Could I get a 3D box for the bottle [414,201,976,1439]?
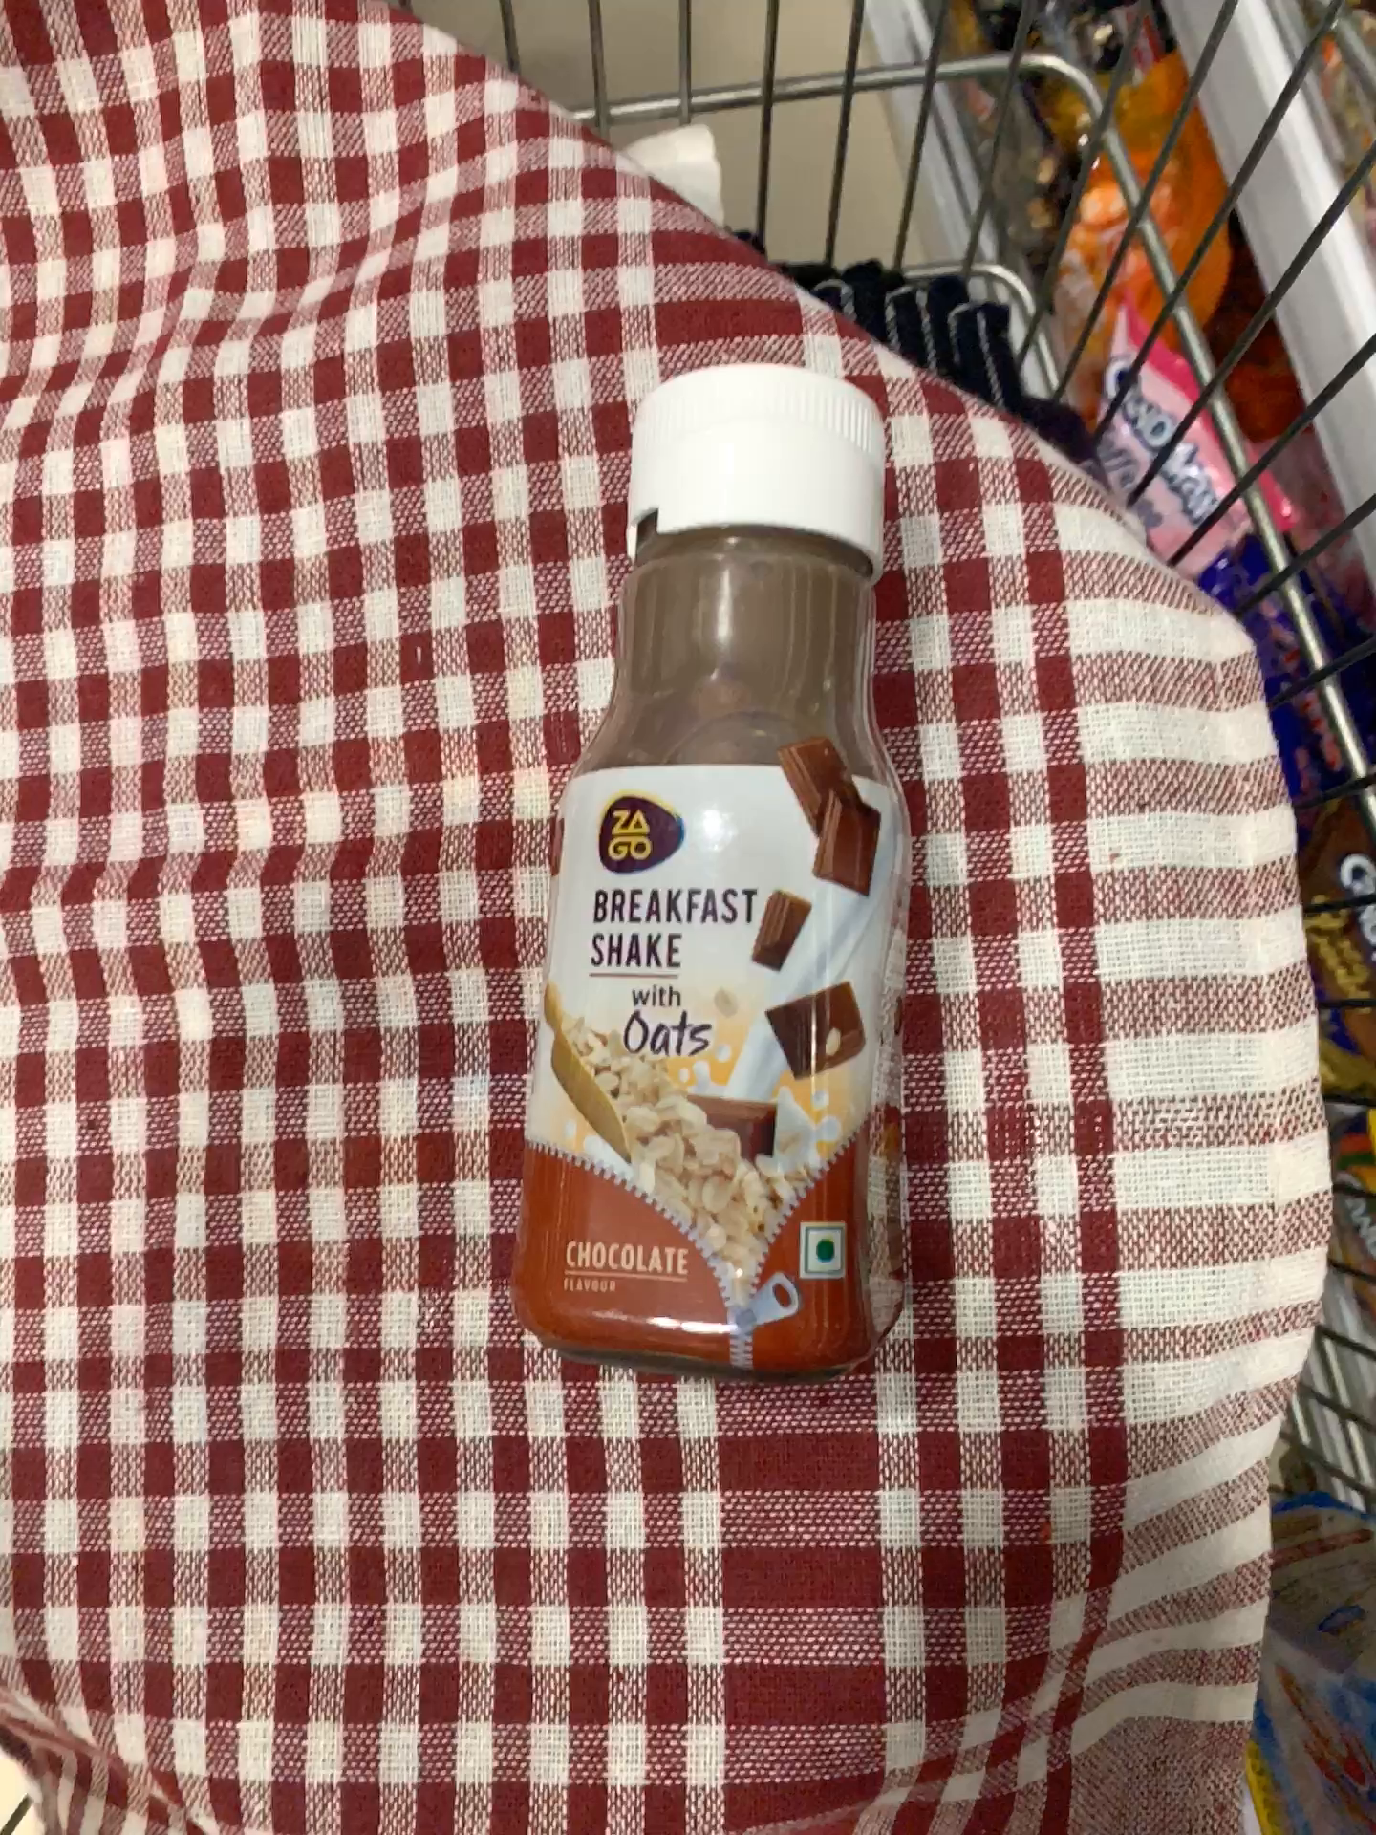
[{"bbox_3d":[0.005,-0.013,0.202,0.060,0.050,0.150,4,88,13],"label":"bottle"}]
